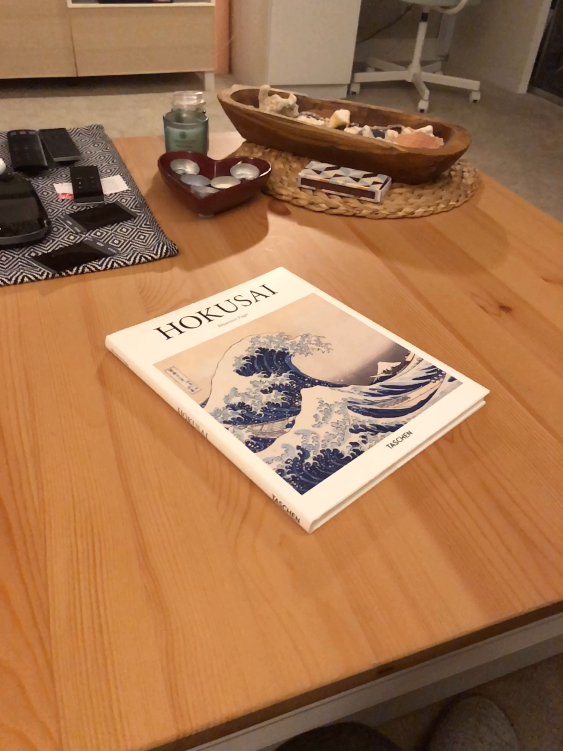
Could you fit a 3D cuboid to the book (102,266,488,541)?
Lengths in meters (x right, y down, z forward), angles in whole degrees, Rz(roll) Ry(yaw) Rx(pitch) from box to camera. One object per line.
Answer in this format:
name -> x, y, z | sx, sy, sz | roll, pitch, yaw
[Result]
book -> 0.008, -0.003, 0.527 | 0.211, 0.020, 0.252 | -27, 49, -34
